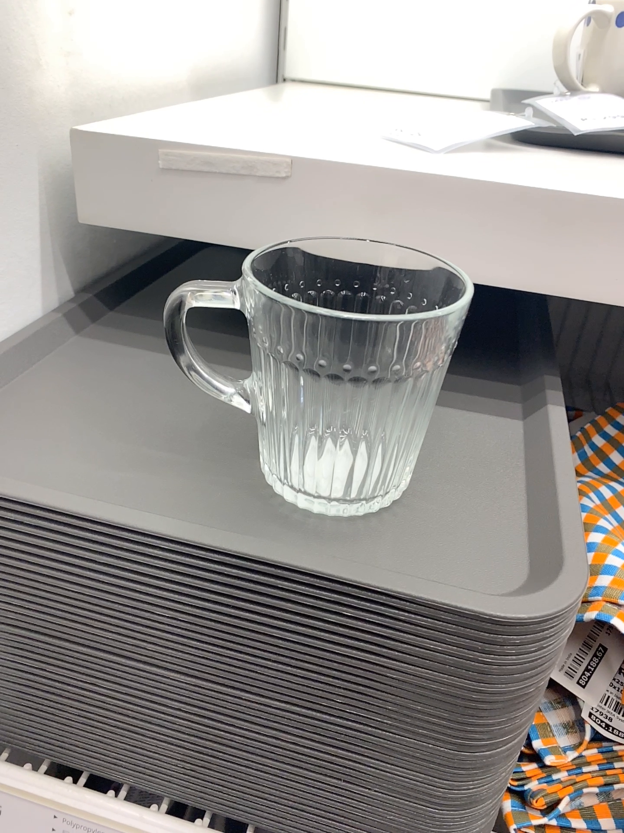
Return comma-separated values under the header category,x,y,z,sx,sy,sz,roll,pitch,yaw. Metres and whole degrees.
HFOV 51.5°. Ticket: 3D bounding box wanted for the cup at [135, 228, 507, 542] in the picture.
category,x,y,z,sx,sy,sz,roll,pitch,yaw
cup,0.002,-0.016,0.244,0.110,0.080,0.080,6,29,2
